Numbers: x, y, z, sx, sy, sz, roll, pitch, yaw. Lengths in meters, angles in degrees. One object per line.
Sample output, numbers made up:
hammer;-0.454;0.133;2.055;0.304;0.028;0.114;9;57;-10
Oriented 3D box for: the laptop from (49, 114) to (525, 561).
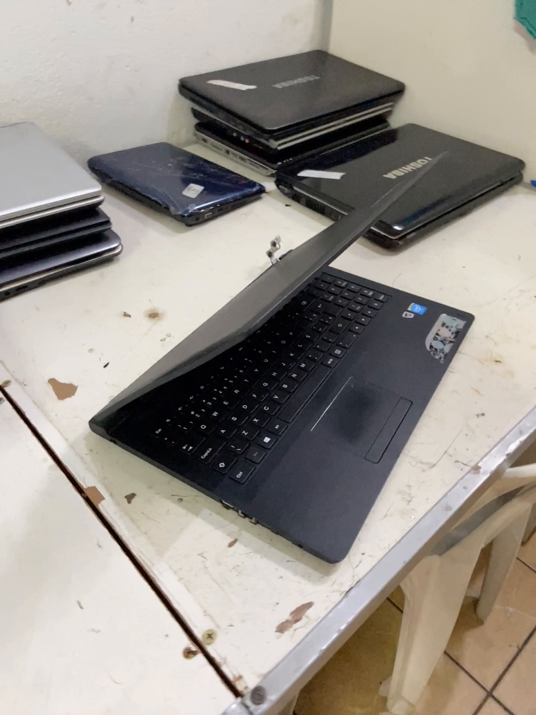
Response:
laptop;0.045;-0.065;0.533;0.258;0.189;0.377;23;45;22
